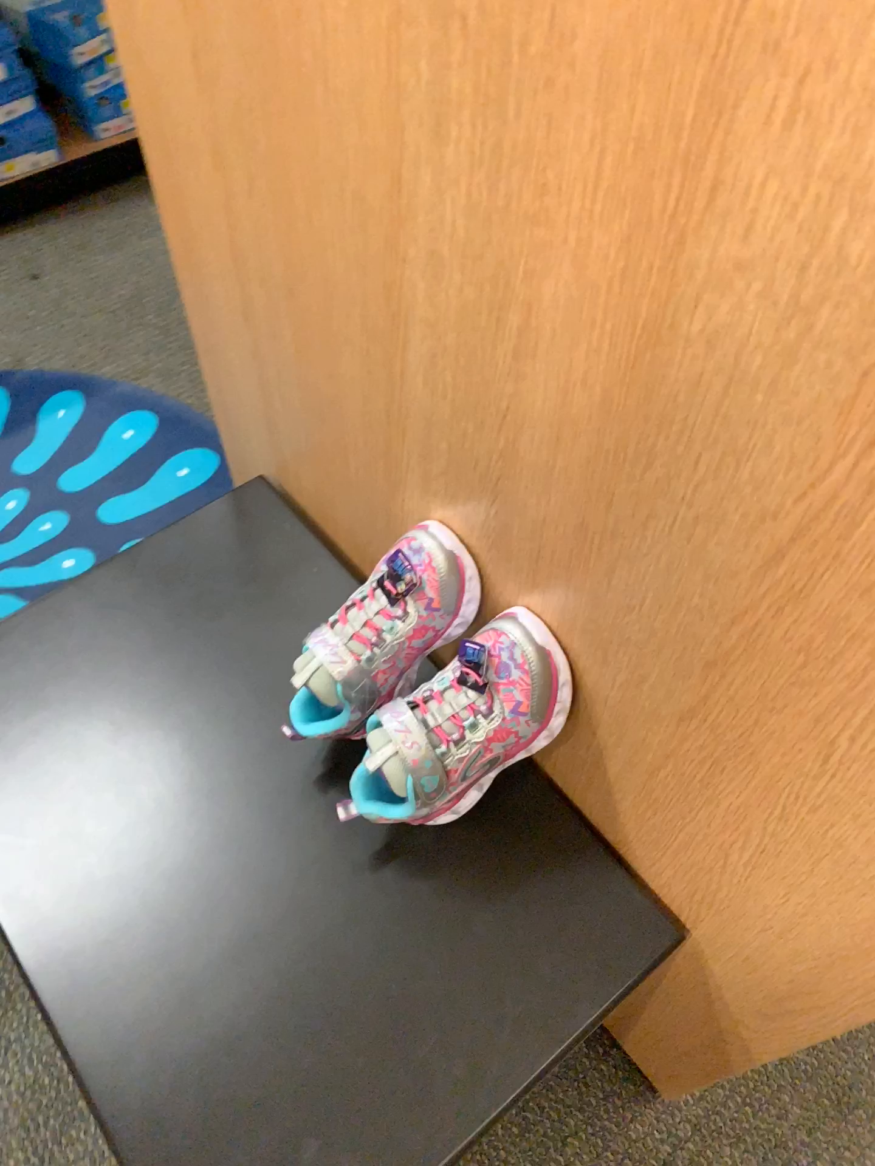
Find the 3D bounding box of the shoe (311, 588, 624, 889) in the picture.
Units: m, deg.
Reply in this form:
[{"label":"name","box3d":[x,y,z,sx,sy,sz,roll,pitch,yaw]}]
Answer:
[{"label":"shoe","box3d":[0.017,0.102,0.603,0.100,0.180,0.090,-3,45,-53]}]

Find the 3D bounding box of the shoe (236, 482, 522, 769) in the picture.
[{"label":"shoe","box3d":[-0.044,0.028,0.641,0.090,0.180,0.100,45,27,24]}]
